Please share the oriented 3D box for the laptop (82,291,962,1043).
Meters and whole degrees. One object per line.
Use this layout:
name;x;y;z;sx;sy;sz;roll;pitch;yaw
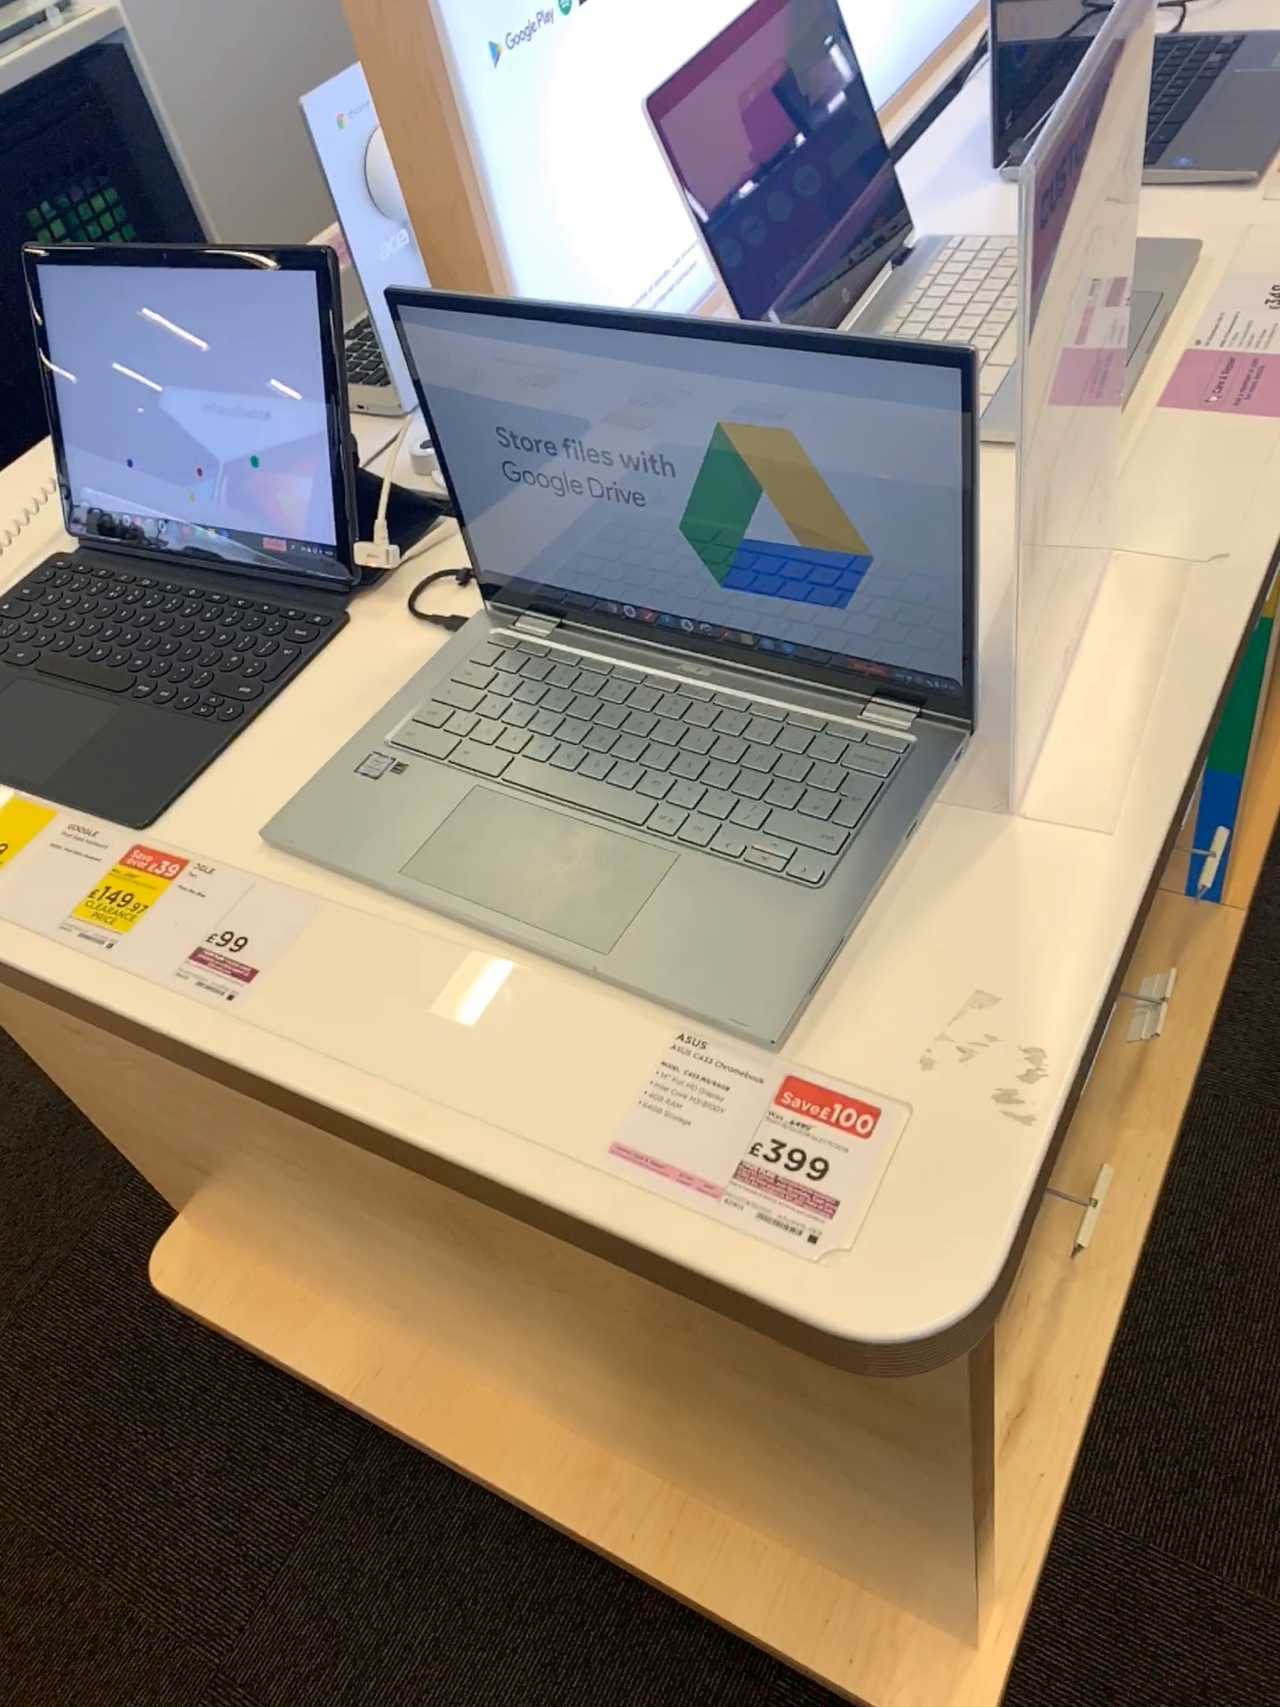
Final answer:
laptop;-0.041;-0.104;0.611;0.318;0.195;0.204;19;56;30
